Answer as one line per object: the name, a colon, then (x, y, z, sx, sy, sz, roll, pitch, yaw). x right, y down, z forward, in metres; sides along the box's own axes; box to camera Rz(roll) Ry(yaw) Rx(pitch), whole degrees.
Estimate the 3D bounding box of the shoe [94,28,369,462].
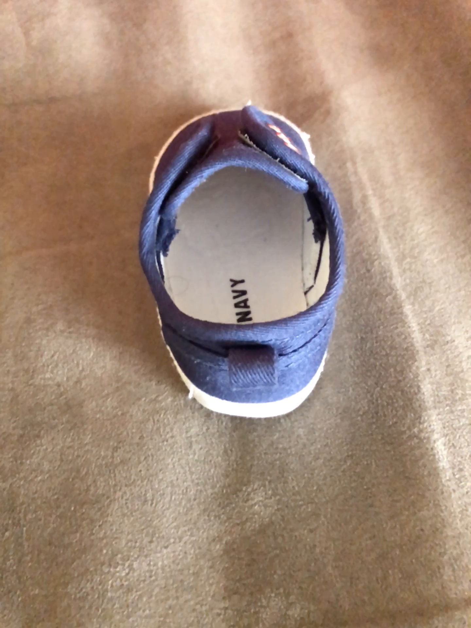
shoe: (-0.003, -0.017, 0.165, 0.060, 0.060, 0.110, -9, 68, 5)
